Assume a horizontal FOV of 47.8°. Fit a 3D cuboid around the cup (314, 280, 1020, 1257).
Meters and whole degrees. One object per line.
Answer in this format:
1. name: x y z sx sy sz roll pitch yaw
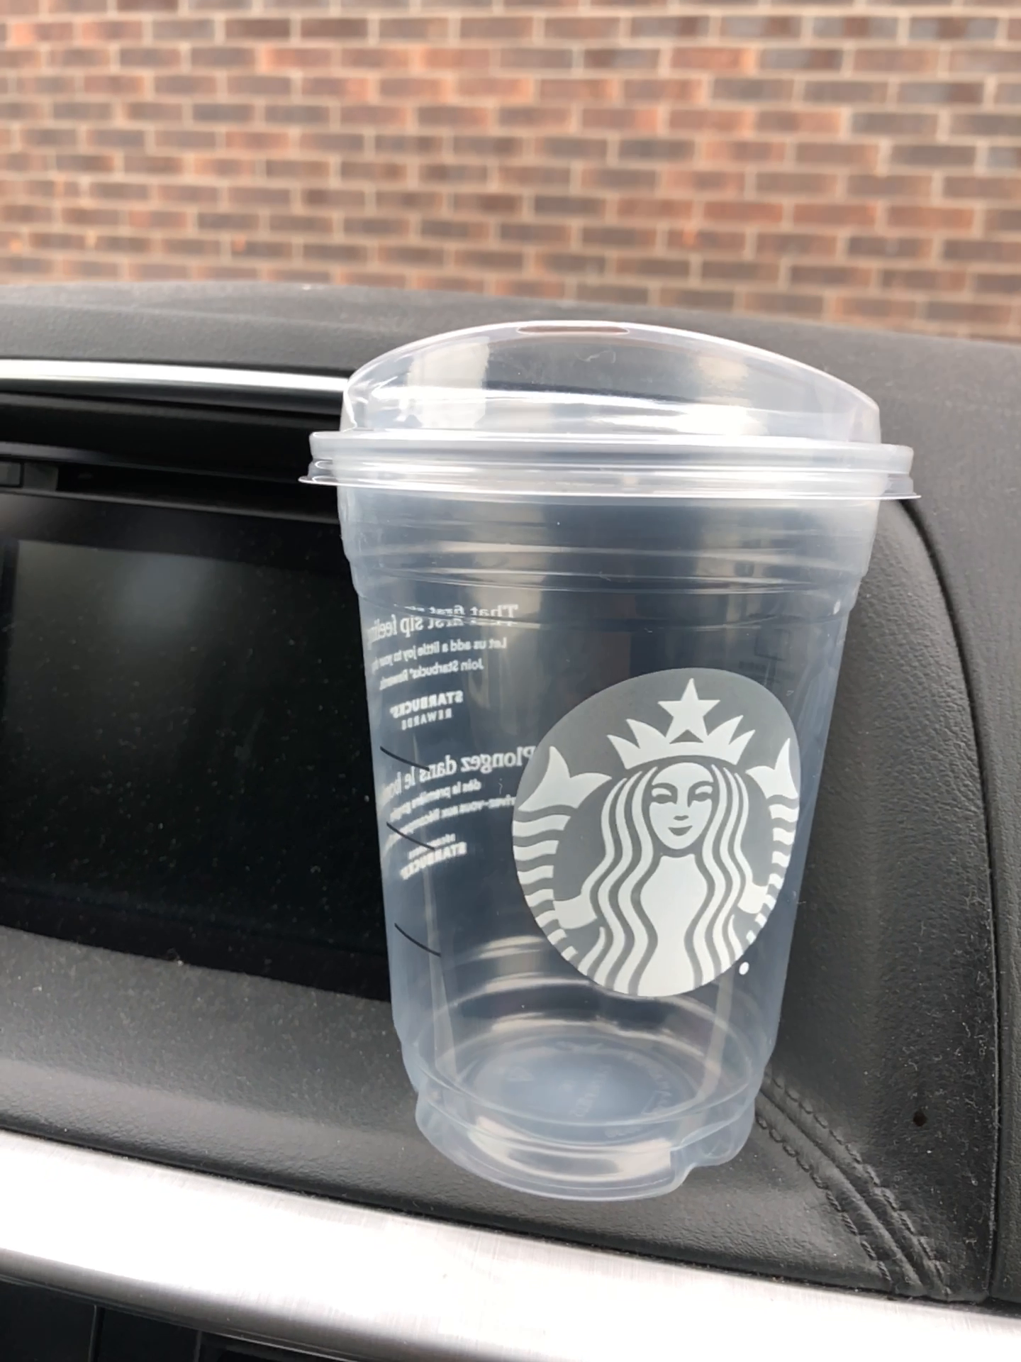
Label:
1. cup: 0.015 0.006 0.185 0.088 0.125 0.082 3 16 -1
